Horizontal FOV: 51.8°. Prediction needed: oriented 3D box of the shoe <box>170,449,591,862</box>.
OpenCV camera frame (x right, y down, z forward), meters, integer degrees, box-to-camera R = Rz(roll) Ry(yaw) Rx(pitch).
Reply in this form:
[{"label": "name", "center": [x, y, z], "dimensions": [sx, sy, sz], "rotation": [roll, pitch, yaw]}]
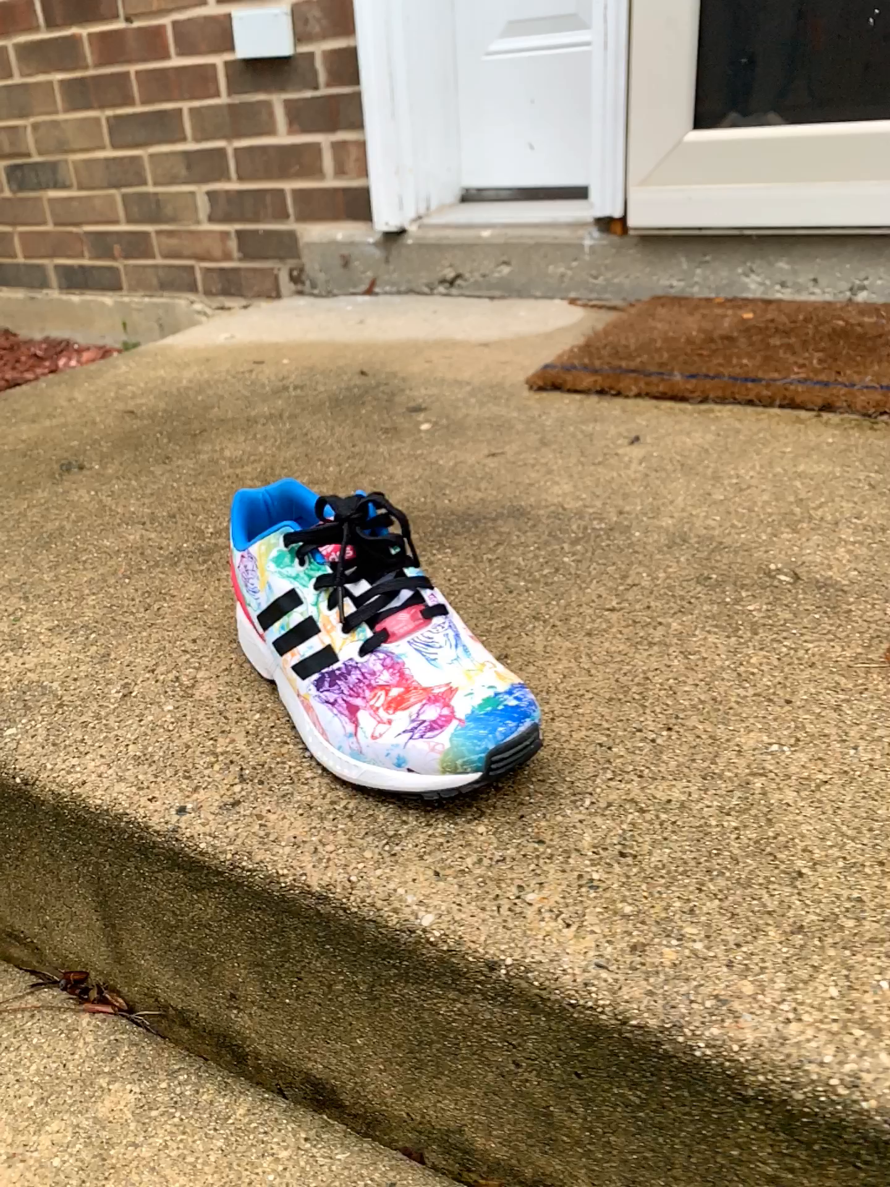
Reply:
[{"label": "shoe", "center": [-0.045, 0.012, 0.502], "dimensions": [0.110, 0.104, 0.246], "rotation": [-20, 32, -28]}]
